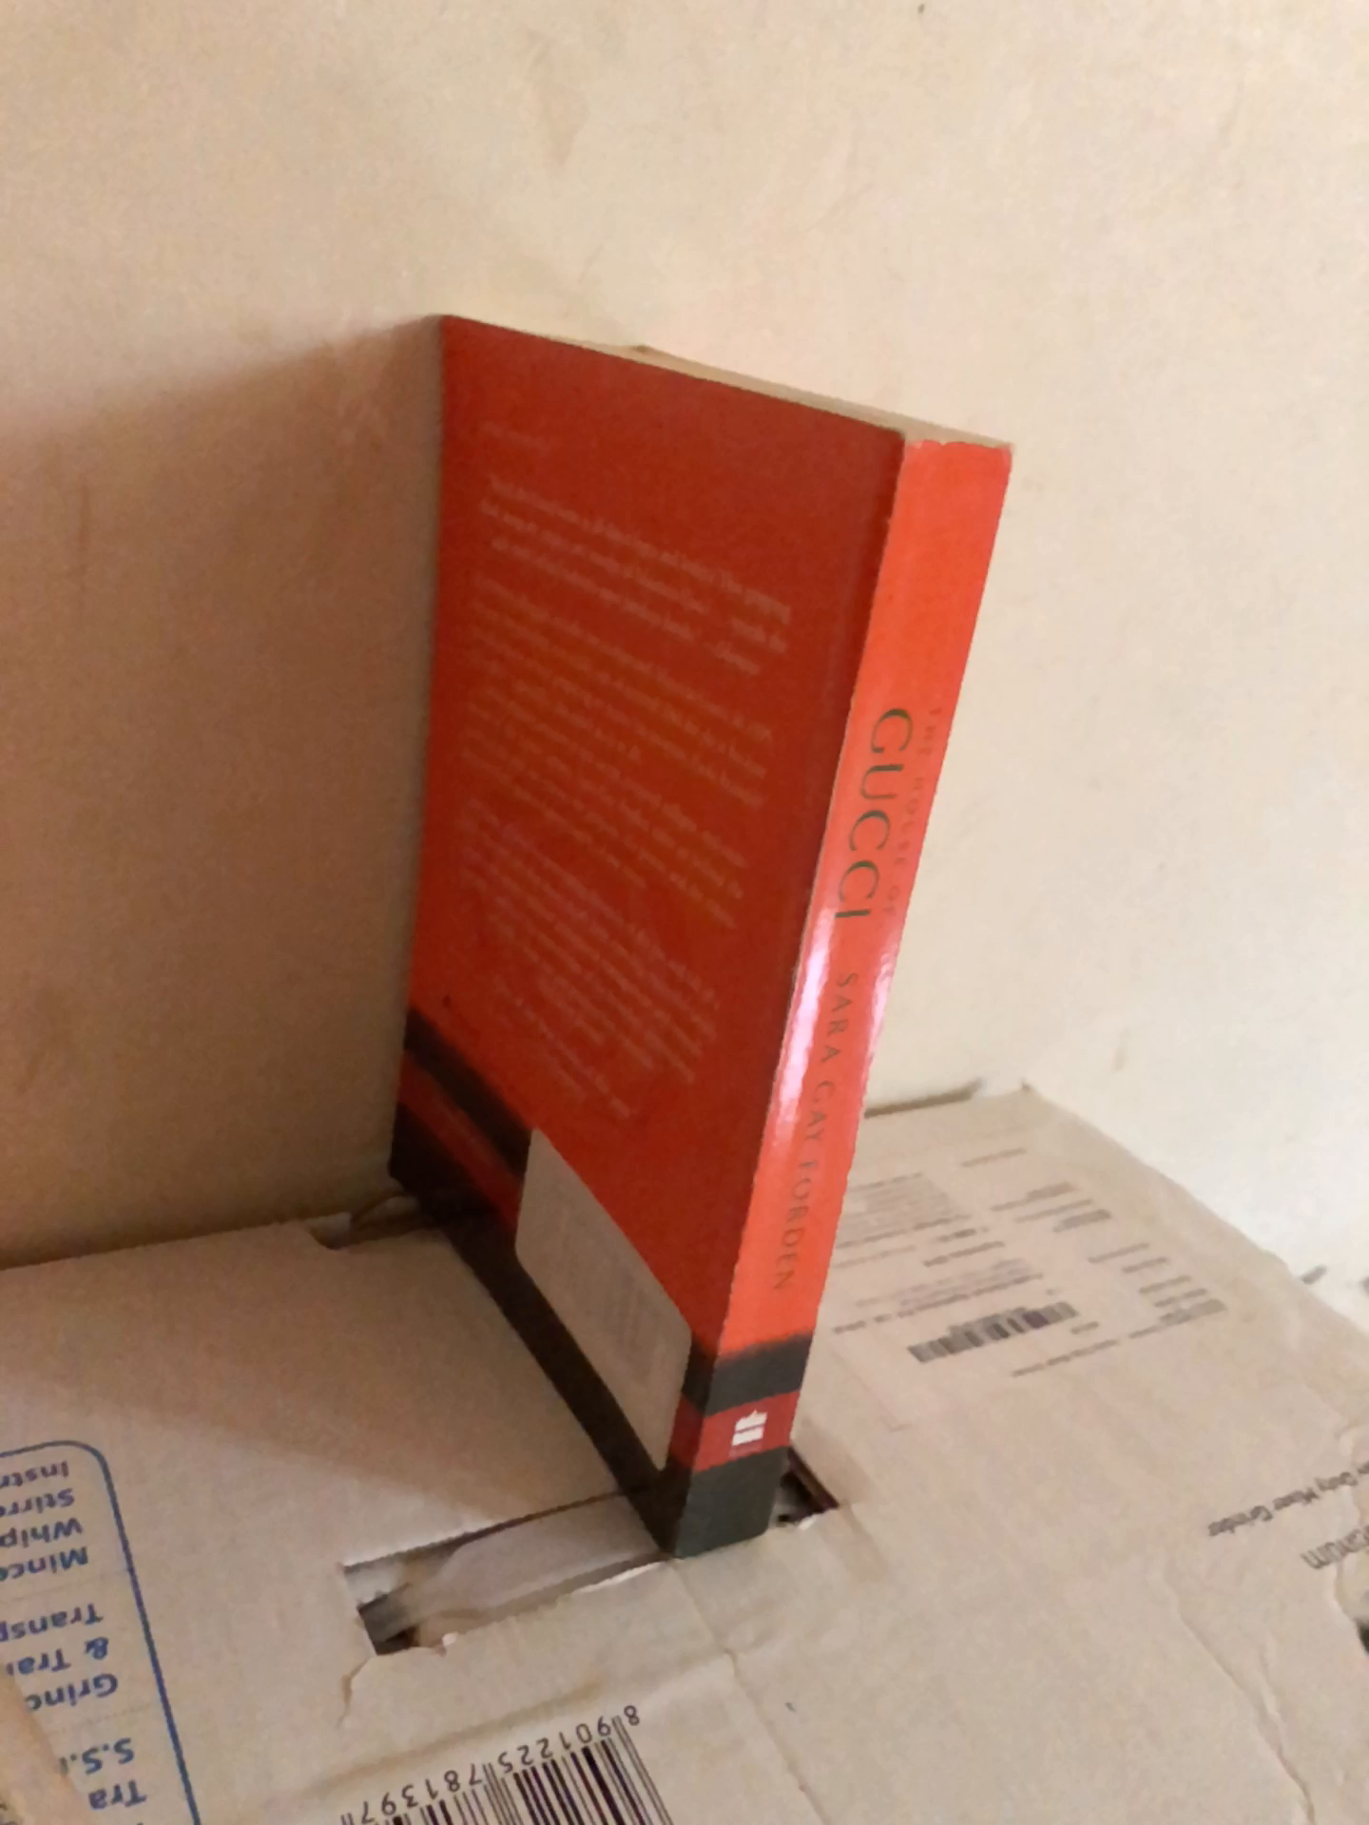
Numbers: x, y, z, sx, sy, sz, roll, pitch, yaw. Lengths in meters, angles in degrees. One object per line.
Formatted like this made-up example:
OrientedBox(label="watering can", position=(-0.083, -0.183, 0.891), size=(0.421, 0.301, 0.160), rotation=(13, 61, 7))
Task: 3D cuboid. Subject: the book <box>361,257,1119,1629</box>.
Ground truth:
OrientedBox(label="book", position=(-0.016, -0.007, 0.333), size=(0.040, 0.229, 0.191), rotation=(-2, 27, -28))
